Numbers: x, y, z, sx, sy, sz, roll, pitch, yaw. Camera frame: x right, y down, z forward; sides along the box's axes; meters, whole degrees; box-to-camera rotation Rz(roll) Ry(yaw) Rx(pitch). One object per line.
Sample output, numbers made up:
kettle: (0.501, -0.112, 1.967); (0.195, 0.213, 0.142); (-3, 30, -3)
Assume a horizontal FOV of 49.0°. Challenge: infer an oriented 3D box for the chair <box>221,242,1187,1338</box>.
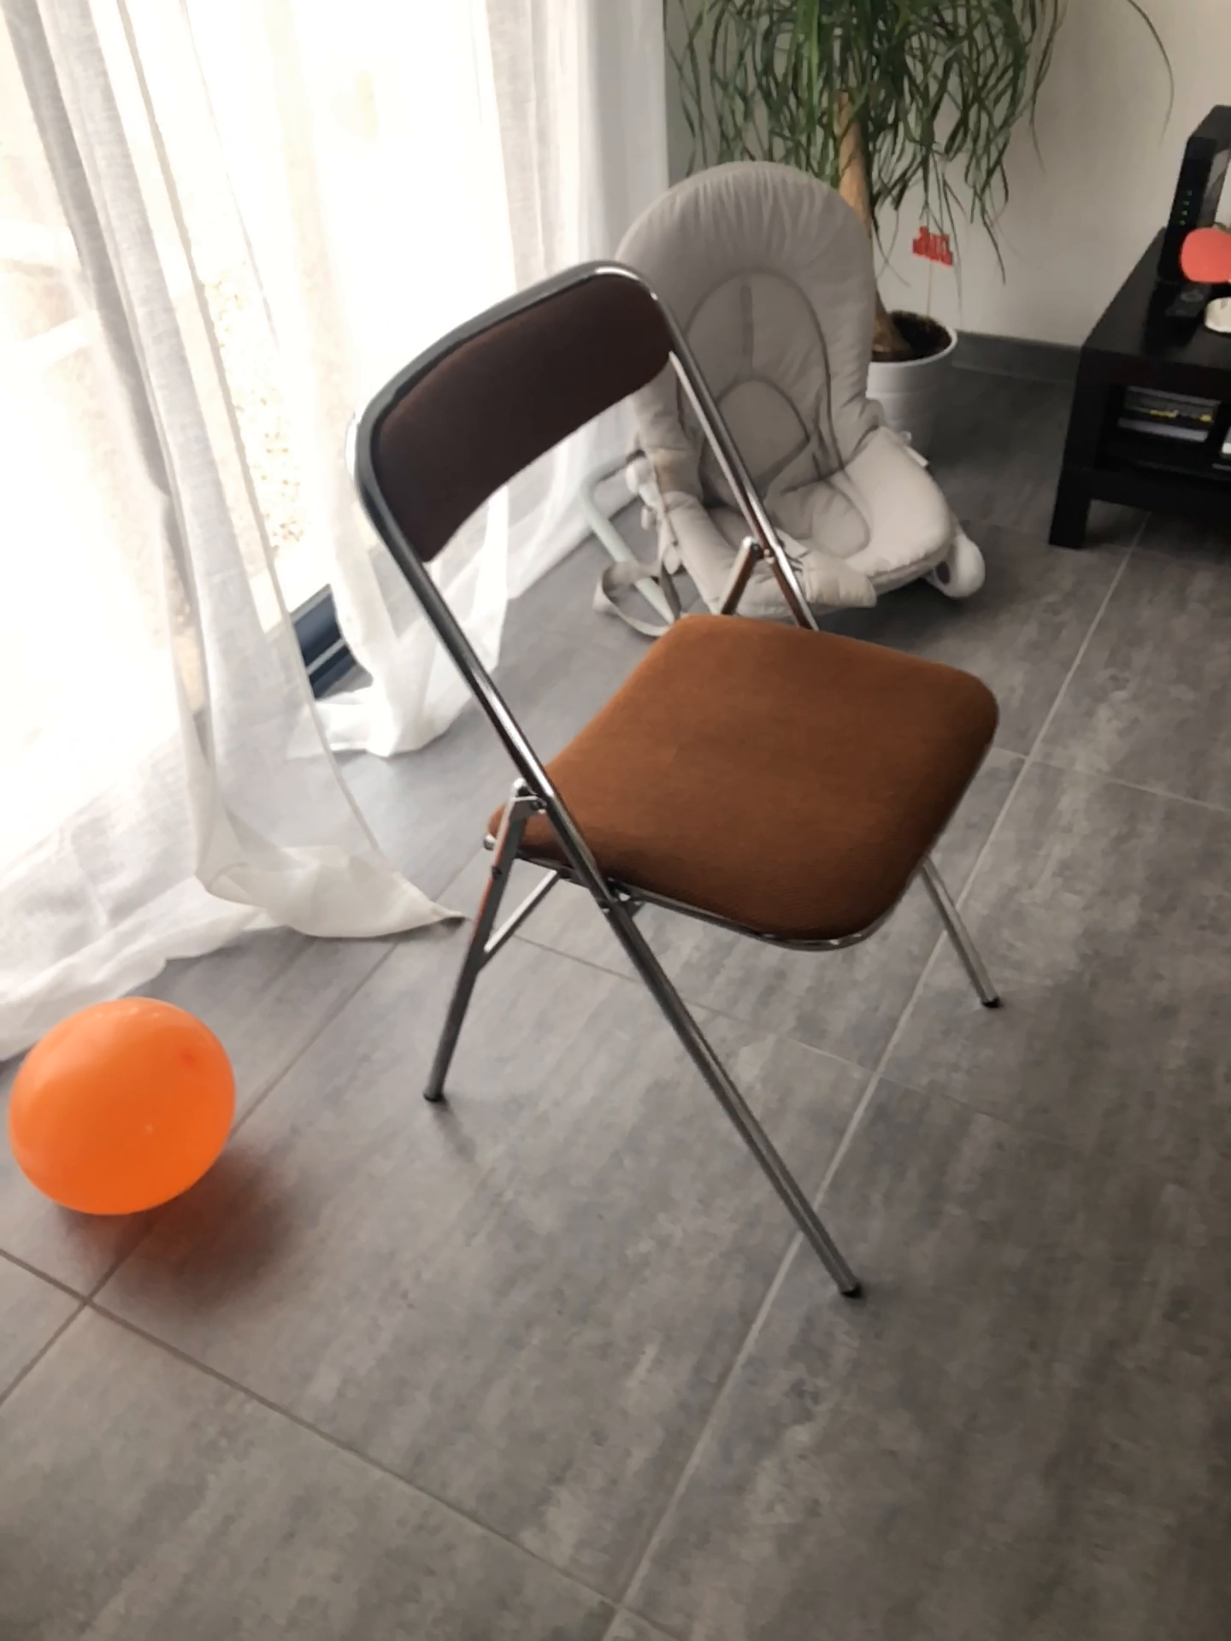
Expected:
chair: (0.099, -0.037, 1.235); (0.550, 0.736, 0.483); (19, 46, 24)
